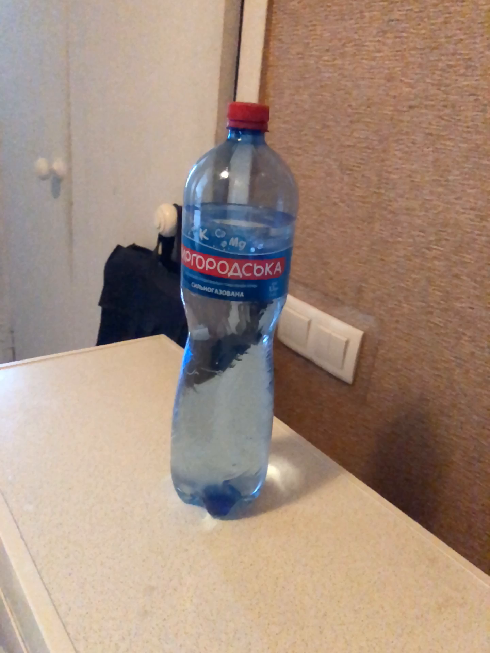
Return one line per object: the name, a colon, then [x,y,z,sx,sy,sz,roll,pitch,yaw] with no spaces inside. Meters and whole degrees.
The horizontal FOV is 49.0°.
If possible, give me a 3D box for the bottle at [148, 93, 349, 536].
bottle: [-0.003,-0.007,0.431,0.100,0.318,0.101,5,22,-2]
